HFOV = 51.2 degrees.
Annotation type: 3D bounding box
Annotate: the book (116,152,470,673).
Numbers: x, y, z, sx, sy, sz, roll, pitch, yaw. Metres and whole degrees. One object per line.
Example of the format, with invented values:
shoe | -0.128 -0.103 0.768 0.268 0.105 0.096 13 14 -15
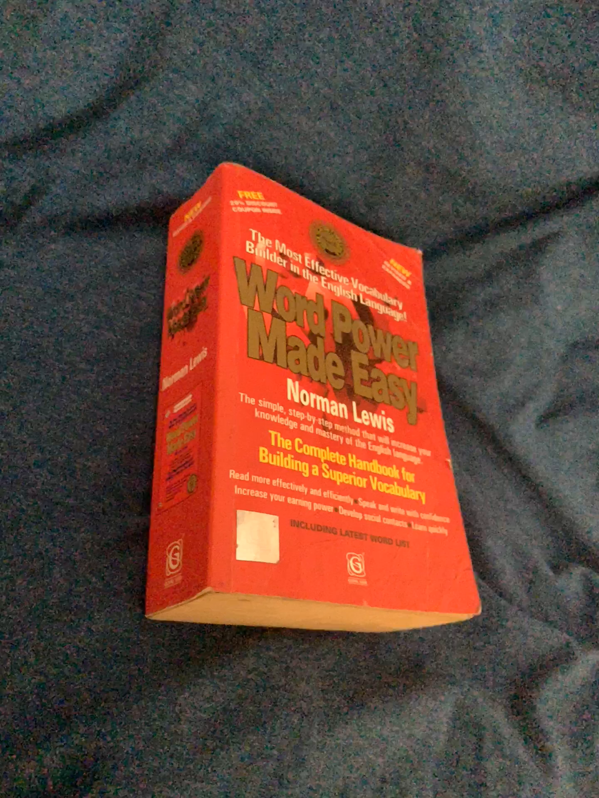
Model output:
book | 0.006 0.007 0.267 0.120 0.050 0.191 22 56 -32
